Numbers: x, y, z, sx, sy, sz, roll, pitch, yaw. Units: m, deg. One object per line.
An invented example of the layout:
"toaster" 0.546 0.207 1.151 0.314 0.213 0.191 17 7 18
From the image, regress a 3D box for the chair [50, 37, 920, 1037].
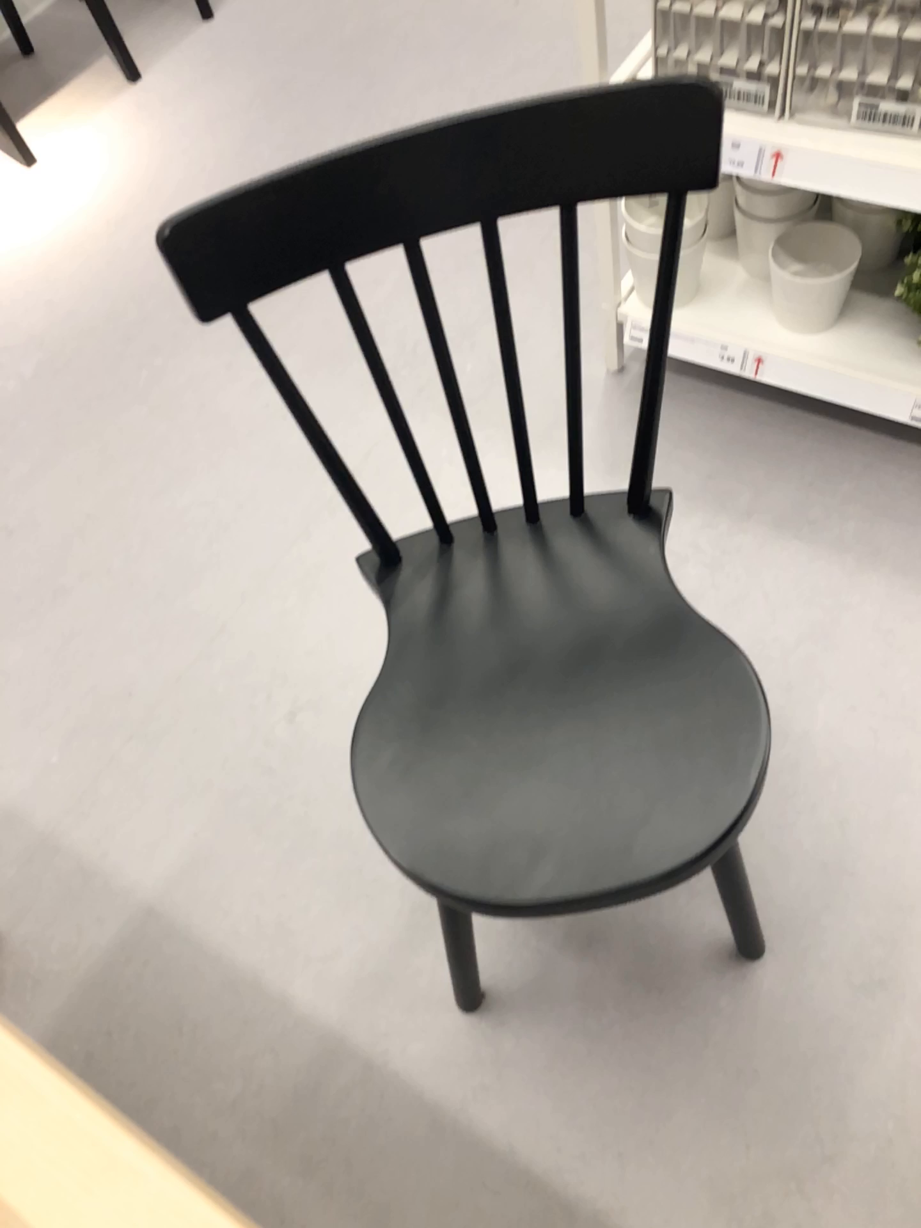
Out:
"chair" 0.055 0.013 0.933 0.480 0.716 0.523 -12 56 4
